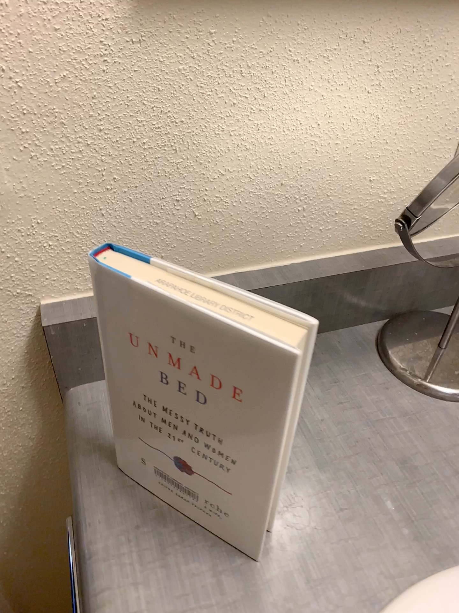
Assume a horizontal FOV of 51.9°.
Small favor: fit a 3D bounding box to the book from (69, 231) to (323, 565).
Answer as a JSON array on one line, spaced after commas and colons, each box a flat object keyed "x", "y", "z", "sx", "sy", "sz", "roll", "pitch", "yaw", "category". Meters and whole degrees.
[{"x": -0.030, "y": 0.072, "z": 0.329, "sx": 0.152, "sy": 0.214, "sz": 0.033, "roll": 23, "pitch": 41, "yaw": 24, "category": "book"}]
